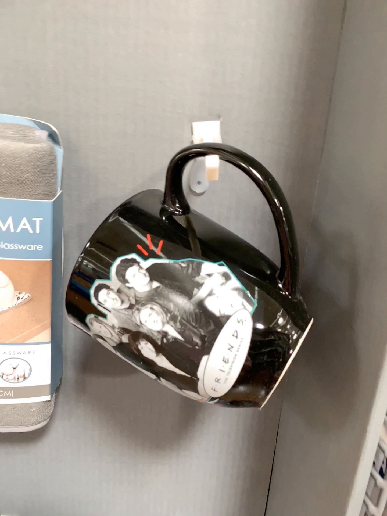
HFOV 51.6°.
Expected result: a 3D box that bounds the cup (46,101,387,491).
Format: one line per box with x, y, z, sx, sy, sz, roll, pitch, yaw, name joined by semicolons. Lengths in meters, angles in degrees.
0.012;0.010;0.202;0.115;0.128;0.087;30;26;16;cup
